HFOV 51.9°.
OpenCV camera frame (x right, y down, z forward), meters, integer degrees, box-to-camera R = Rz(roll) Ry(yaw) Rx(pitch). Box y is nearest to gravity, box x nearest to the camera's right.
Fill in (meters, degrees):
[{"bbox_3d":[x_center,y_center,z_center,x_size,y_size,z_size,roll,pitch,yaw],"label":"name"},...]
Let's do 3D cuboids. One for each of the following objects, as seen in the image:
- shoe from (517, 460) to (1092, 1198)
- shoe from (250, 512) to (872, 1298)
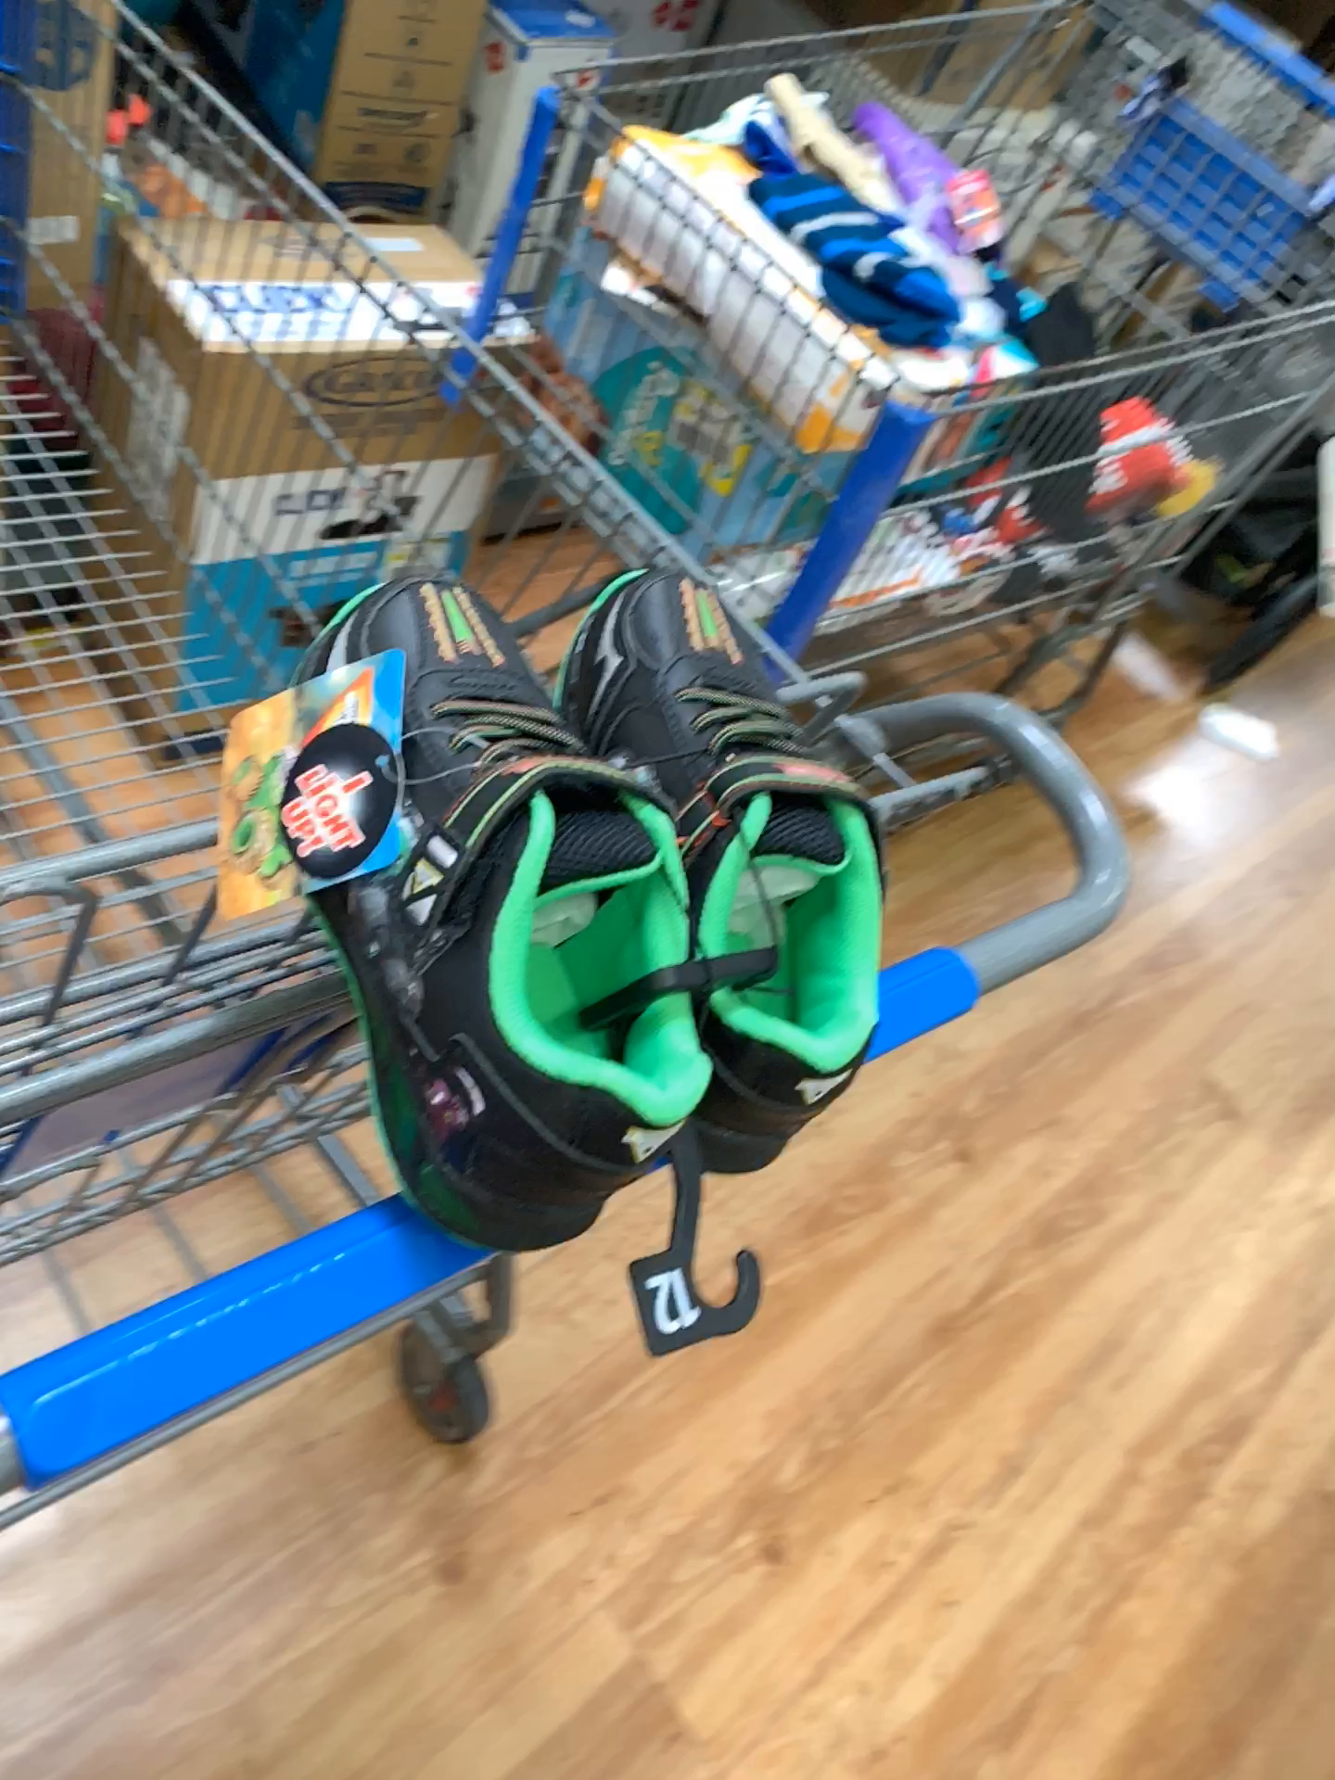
[{"bbox_3d":[0.029,-0.025,0.430,0.089,0.086,0.214,0,53,-27],"label":"shoe"},{"bbox_3d":[-0.043,-0.004,0.393,0.095,0.093,0.195,-6,56,-31],"label":"shoe"}]
